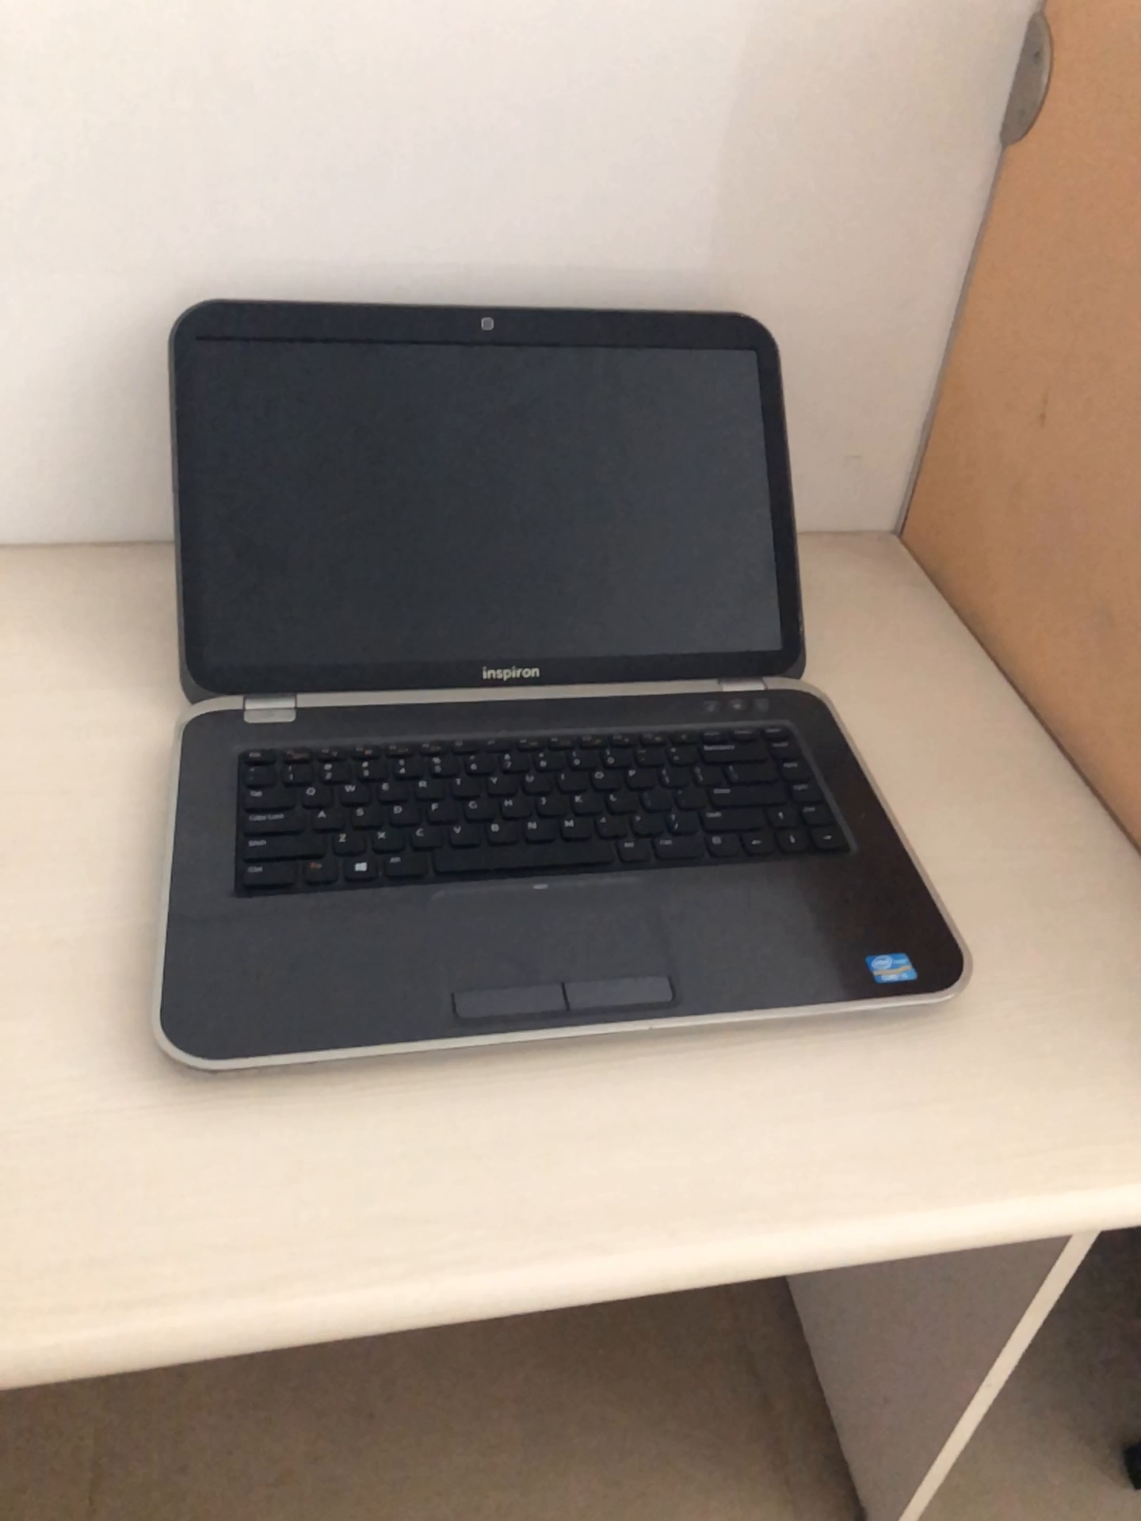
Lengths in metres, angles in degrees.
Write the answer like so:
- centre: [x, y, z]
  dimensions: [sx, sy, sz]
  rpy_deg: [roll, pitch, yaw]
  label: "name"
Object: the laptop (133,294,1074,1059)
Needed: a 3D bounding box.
- centre: [-0.020, -0.080, 0.640]
  dimensions: [0.339, 0.152, 0.411]
  rpy_deg: [-3, 41, -11]
  label: "laptop"
